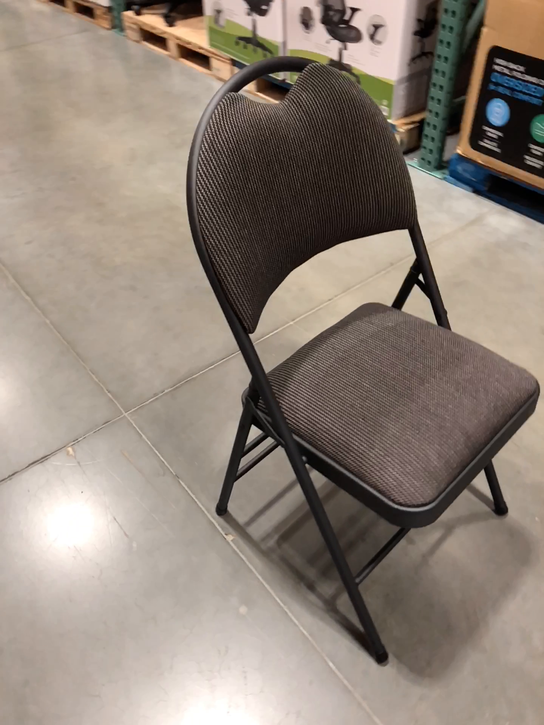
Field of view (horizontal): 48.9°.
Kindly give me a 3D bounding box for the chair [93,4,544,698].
[{"bbox_3d":[0.174,-0.009,0.997,0.521,0.867,0.561,-33,51,-28],"label":"chair"}]
